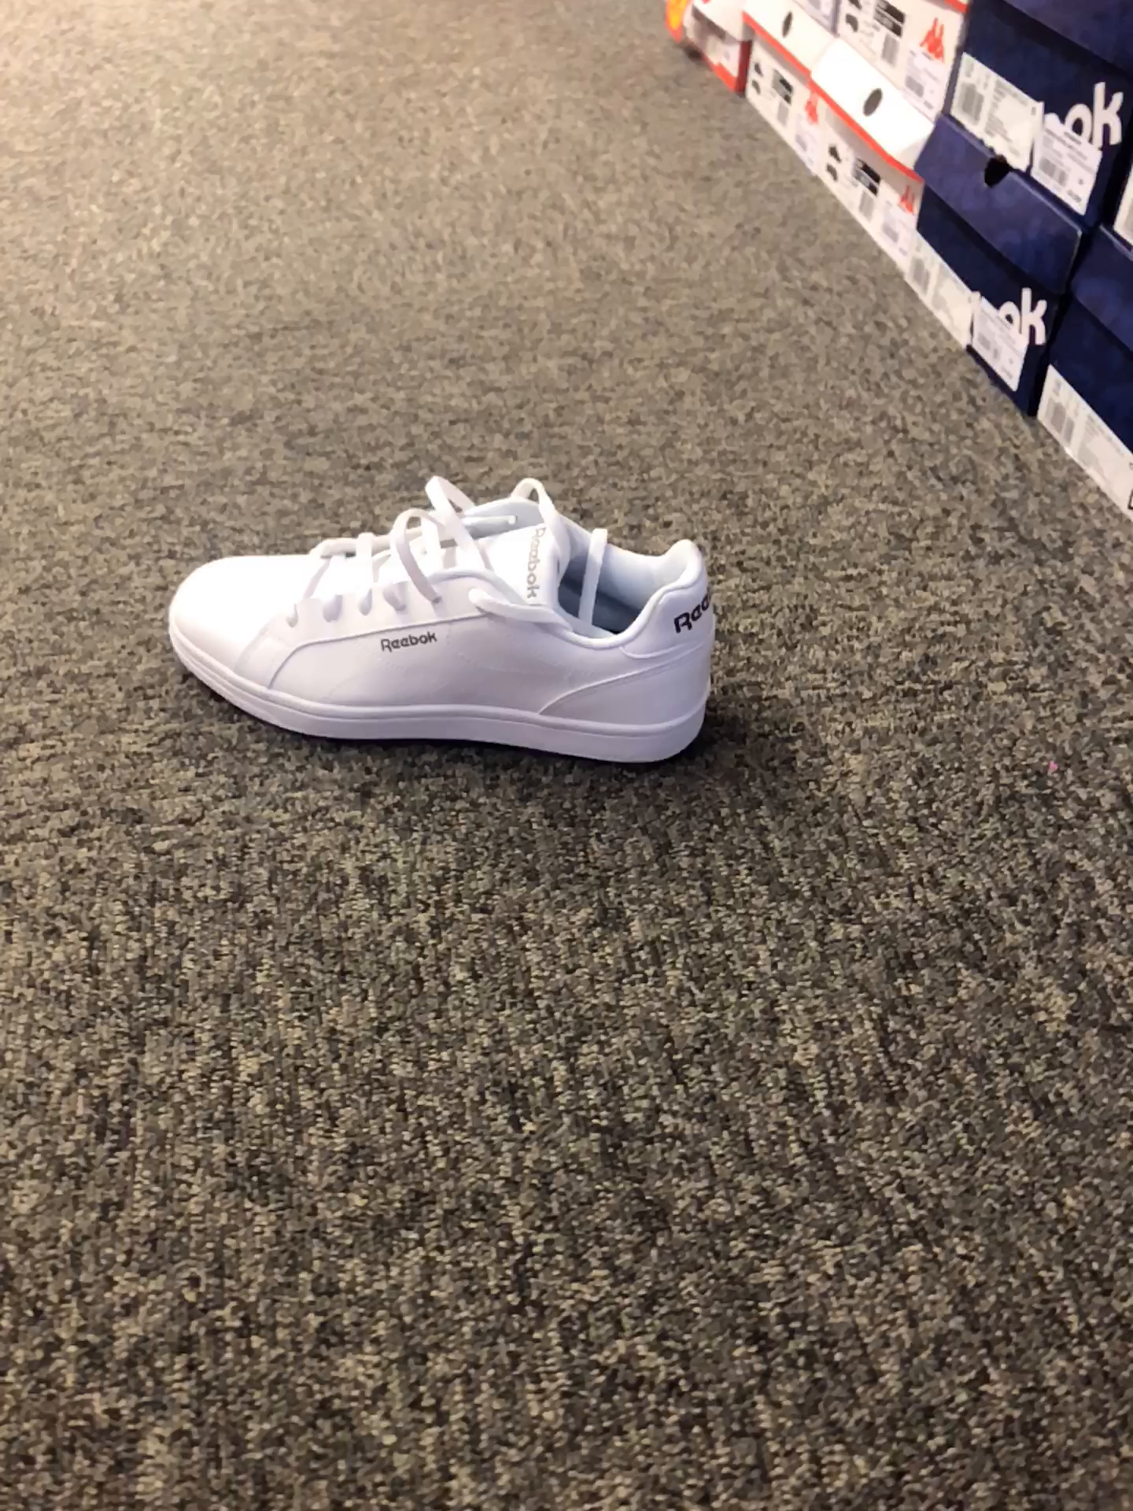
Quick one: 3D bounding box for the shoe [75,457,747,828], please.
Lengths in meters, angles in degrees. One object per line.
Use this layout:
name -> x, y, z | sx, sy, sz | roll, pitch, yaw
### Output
shoe -> -0.058, -0.054, 0.548 | 0.260, 0.099, 0.101 | 6, 44, 14
